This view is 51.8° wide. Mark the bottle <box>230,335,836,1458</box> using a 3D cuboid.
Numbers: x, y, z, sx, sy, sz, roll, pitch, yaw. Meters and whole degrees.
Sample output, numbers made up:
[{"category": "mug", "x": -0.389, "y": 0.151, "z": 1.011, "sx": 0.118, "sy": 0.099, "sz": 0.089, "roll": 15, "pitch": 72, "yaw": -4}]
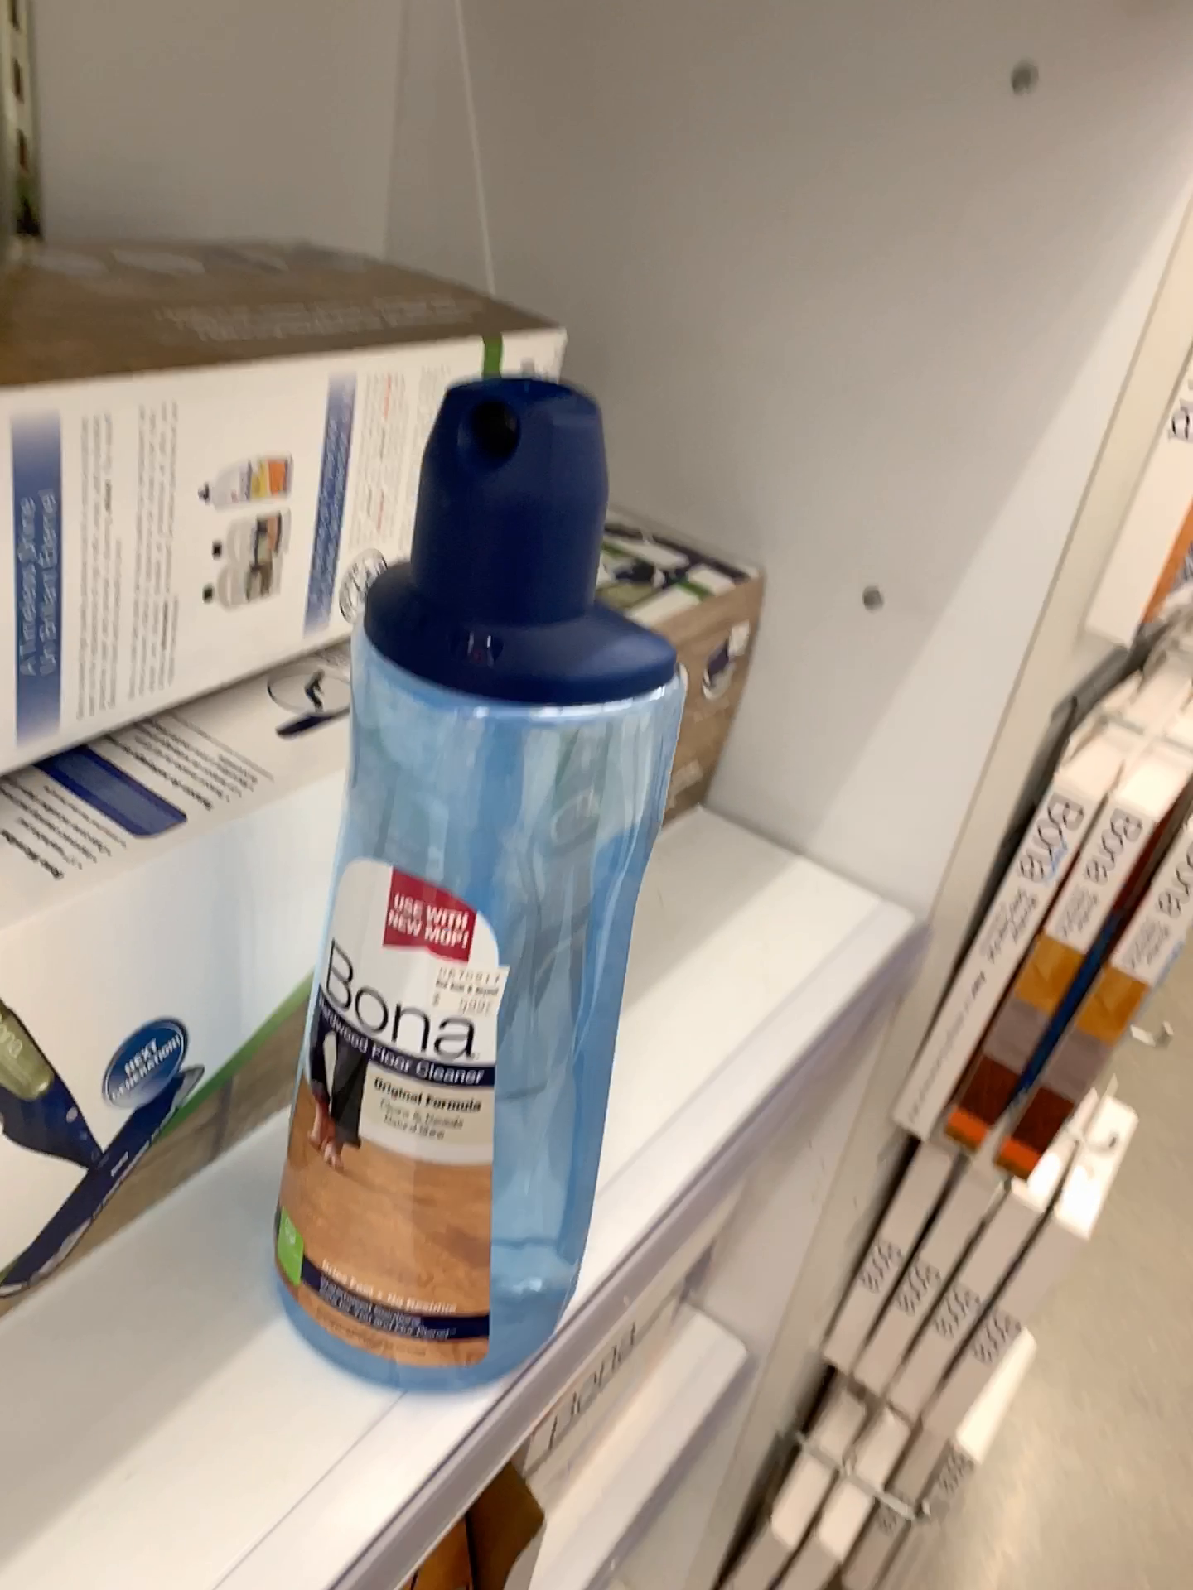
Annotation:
[{"category": "bottle", "x": -0.029, "y": 0.039, "z": 0.326, "sx": 0.100, "sy": 0.279, "sz": 0.080, "roll": 19, "pitch": 32, "yaw": 13}]
